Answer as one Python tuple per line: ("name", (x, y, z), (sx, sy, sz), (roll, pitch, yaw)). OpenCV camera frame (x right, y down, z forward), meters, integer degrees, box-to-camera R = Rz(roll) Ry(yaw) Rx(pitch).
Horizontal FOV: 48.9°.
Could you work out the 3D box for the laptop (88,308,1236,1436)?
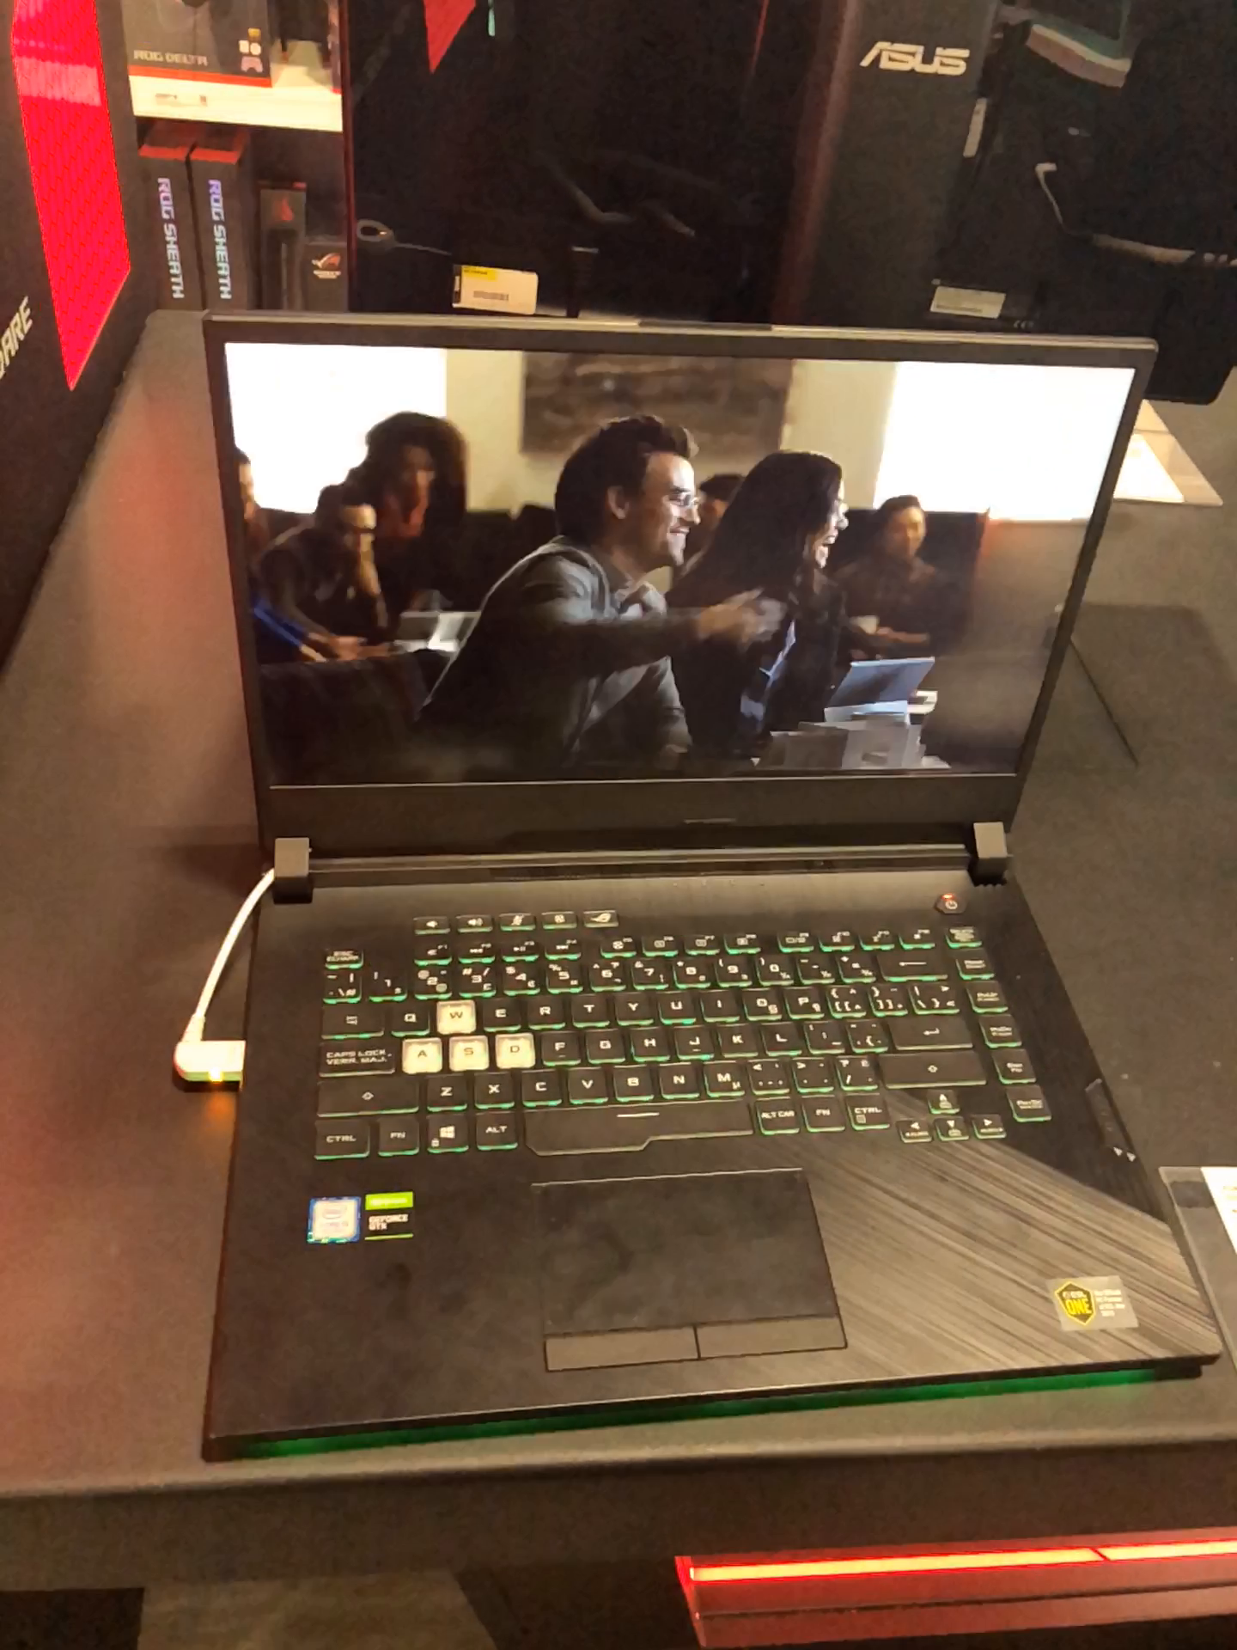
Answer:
("laptop", (0.039, 0.011, 0.492), (0.360, 0.268, 0.276), (-1, 44, -9))
